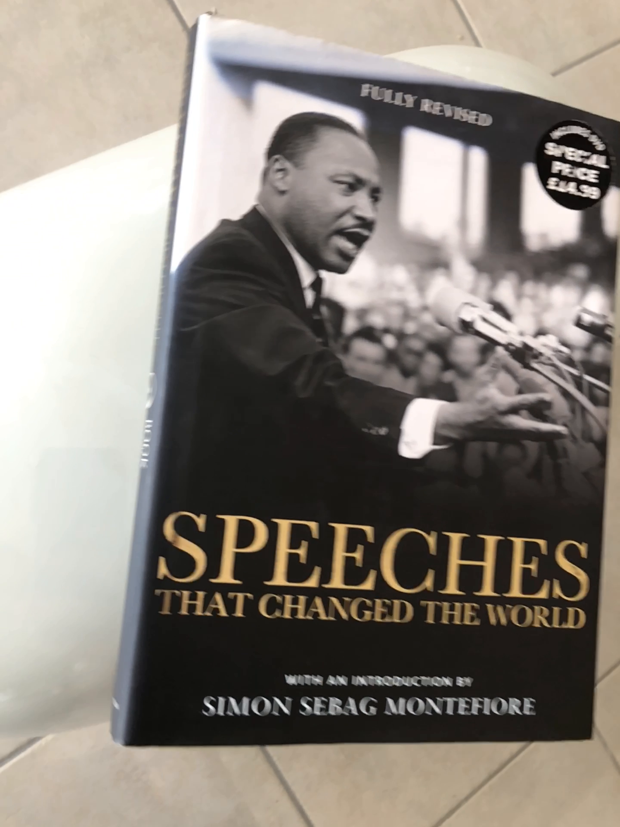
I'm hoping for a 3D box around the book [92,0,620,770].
[{"bbox_3d":[0.036,-0.014,0.289,0.210,0.040,0.290,7,83,-16],"label":"book"}]
